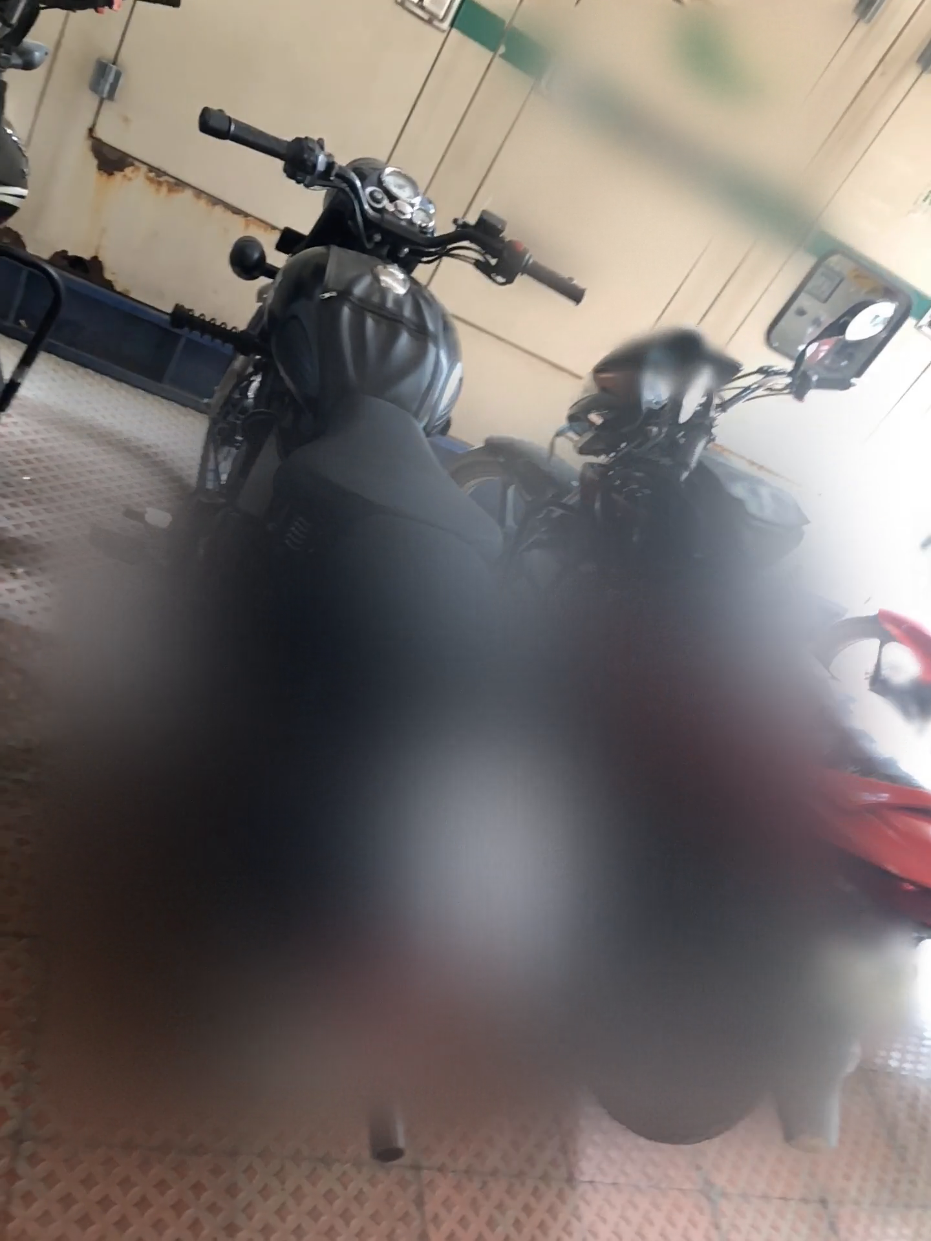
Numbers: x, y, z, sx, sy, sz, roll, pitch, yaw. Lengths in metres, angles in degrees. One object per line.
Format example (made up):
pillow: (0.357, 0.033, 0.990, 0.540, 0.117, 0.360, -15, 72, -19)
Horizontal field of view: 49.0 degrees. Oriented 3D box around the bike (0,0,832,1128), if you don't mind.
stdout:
bike: (-0.327, -0.237, 1.744, 0.709, 0.919, 1.693, 17, 34, -28)
